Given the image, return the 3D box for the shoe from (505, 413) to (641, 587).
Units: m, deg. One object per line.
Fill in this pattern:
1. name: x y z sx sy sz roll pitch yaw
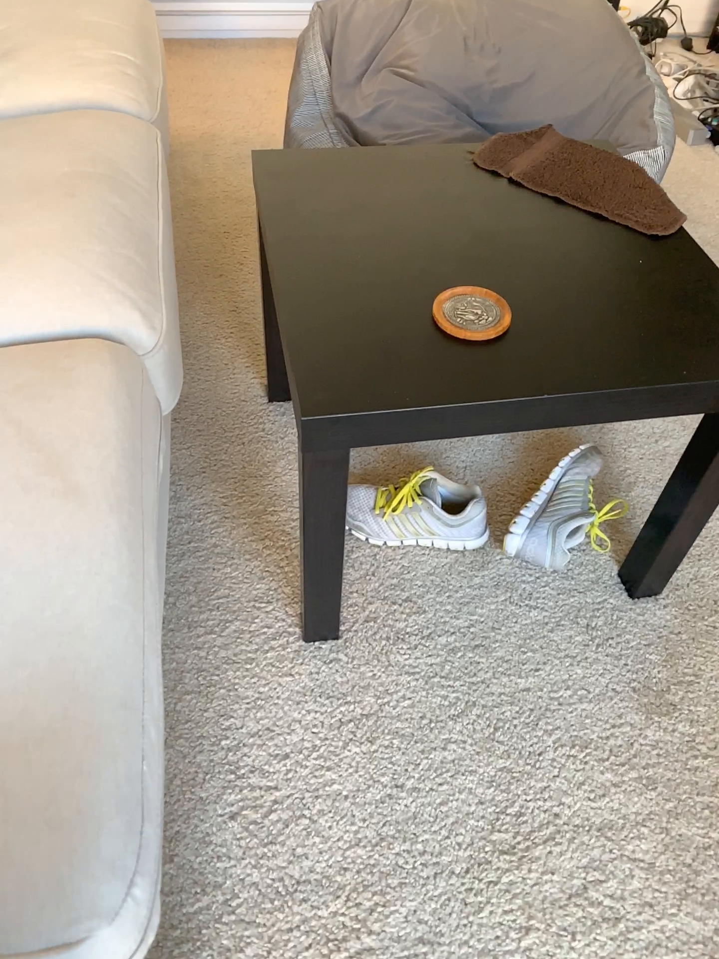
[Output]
1. shoe: 0.320 0.024 1.092 0.100 0.090 0.251 23 51 23

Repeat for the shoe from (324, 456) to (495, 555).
1. shoe: 0.075 0.041 1.147 0.250 0.100 0.090 5 49 0
